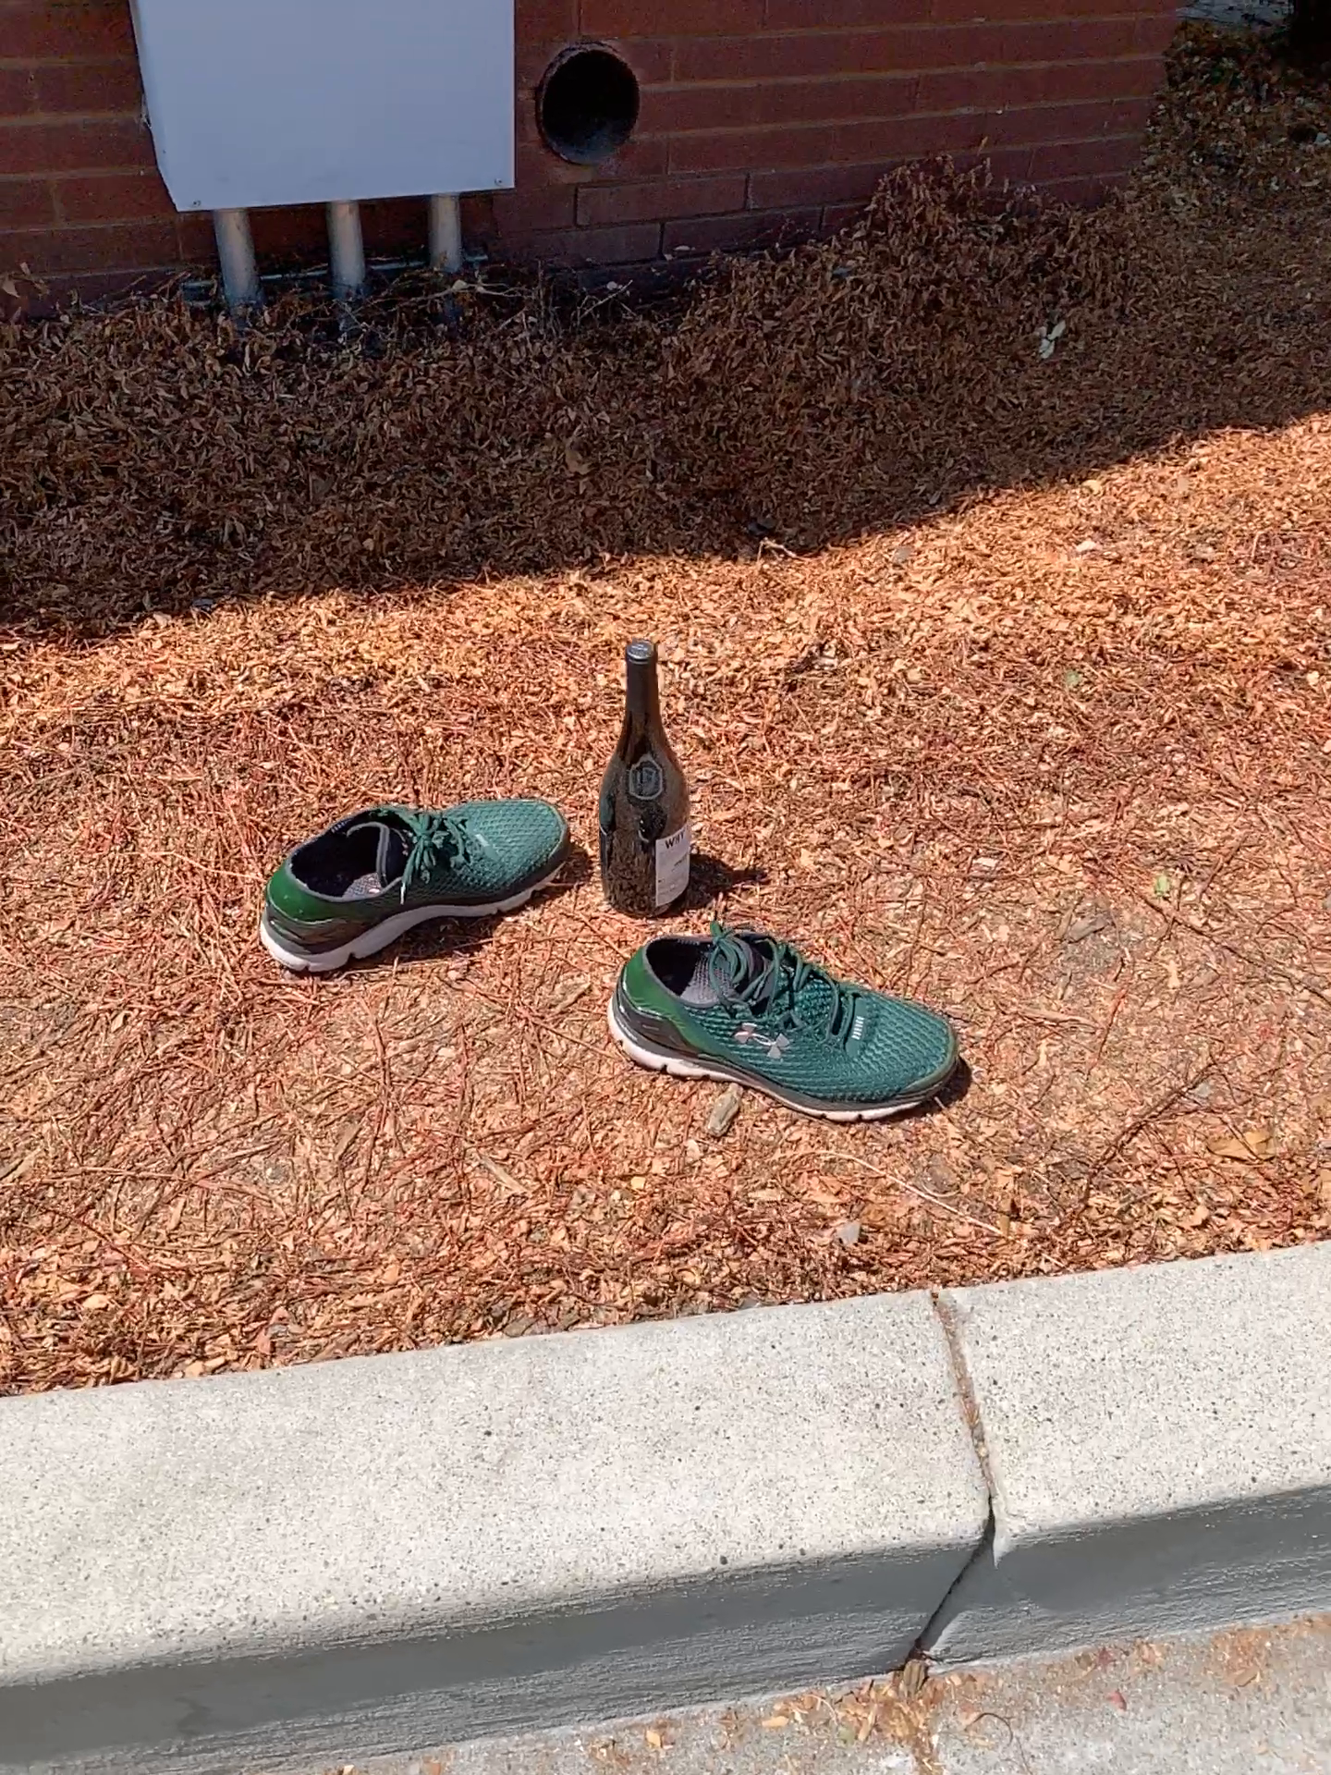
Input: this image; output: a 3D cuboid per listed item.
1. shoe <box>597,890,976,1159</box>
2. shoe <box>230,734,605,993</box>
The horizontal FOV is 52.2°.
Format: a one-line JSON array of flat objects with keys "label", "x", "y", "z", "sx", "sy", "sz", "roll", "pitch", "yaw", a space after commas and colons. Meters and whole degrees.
[{"label": "shoe", "x": 0.101, "y": 0.114, "z": 1.153, "sx": 0.290, "sy": 0.099, "sz": 0.121, "roll": 15, "pitch": 46, "yaw": 8}, {"label": "shoe", "x": -0.218, "y": -0.027, "z": 1.224, "sx": 0.300, "sy": 0.099, "sz": 0.121, "roll": -18, "pitch": 51, "yaw": -22}]
